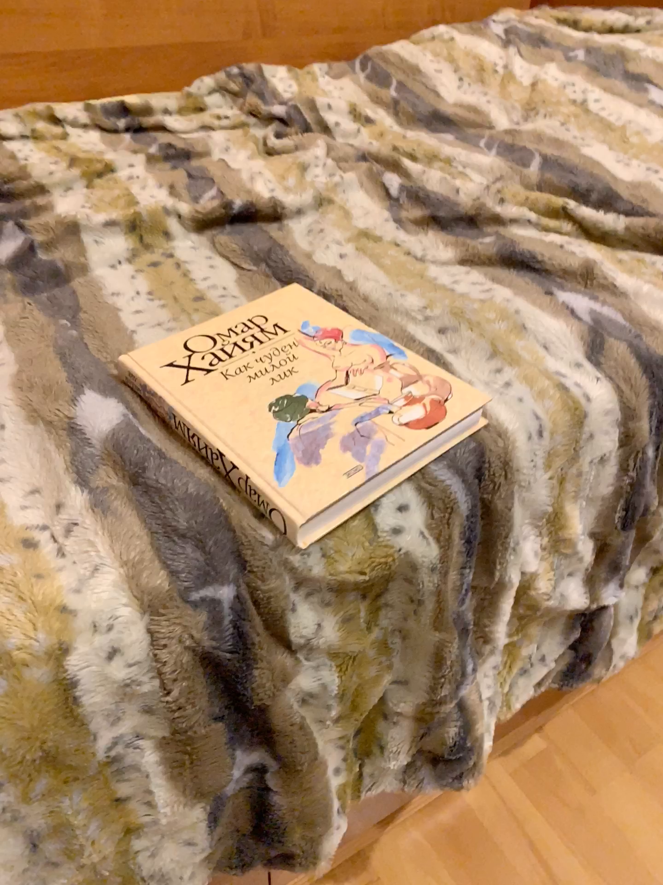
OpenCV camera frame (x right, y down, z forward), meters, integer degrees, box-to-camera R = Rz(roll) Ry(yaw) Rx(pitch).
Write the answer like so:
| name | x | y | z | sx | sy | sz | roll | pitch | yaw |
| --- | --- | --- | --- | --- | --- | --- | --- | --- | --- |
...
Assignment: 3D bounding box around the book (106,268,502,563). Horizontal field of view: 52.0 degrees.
| name | x | y | z | sx | sy | sz | roll | pitch | yaw |
| --- | --- | --- | --- | --- | --- | --- | --- | --- | --- |
| book | -0.025 | -0.039 | 0.474 | 0.171 | 0.030 | 0.221 | -30 | 50 | -28 |
